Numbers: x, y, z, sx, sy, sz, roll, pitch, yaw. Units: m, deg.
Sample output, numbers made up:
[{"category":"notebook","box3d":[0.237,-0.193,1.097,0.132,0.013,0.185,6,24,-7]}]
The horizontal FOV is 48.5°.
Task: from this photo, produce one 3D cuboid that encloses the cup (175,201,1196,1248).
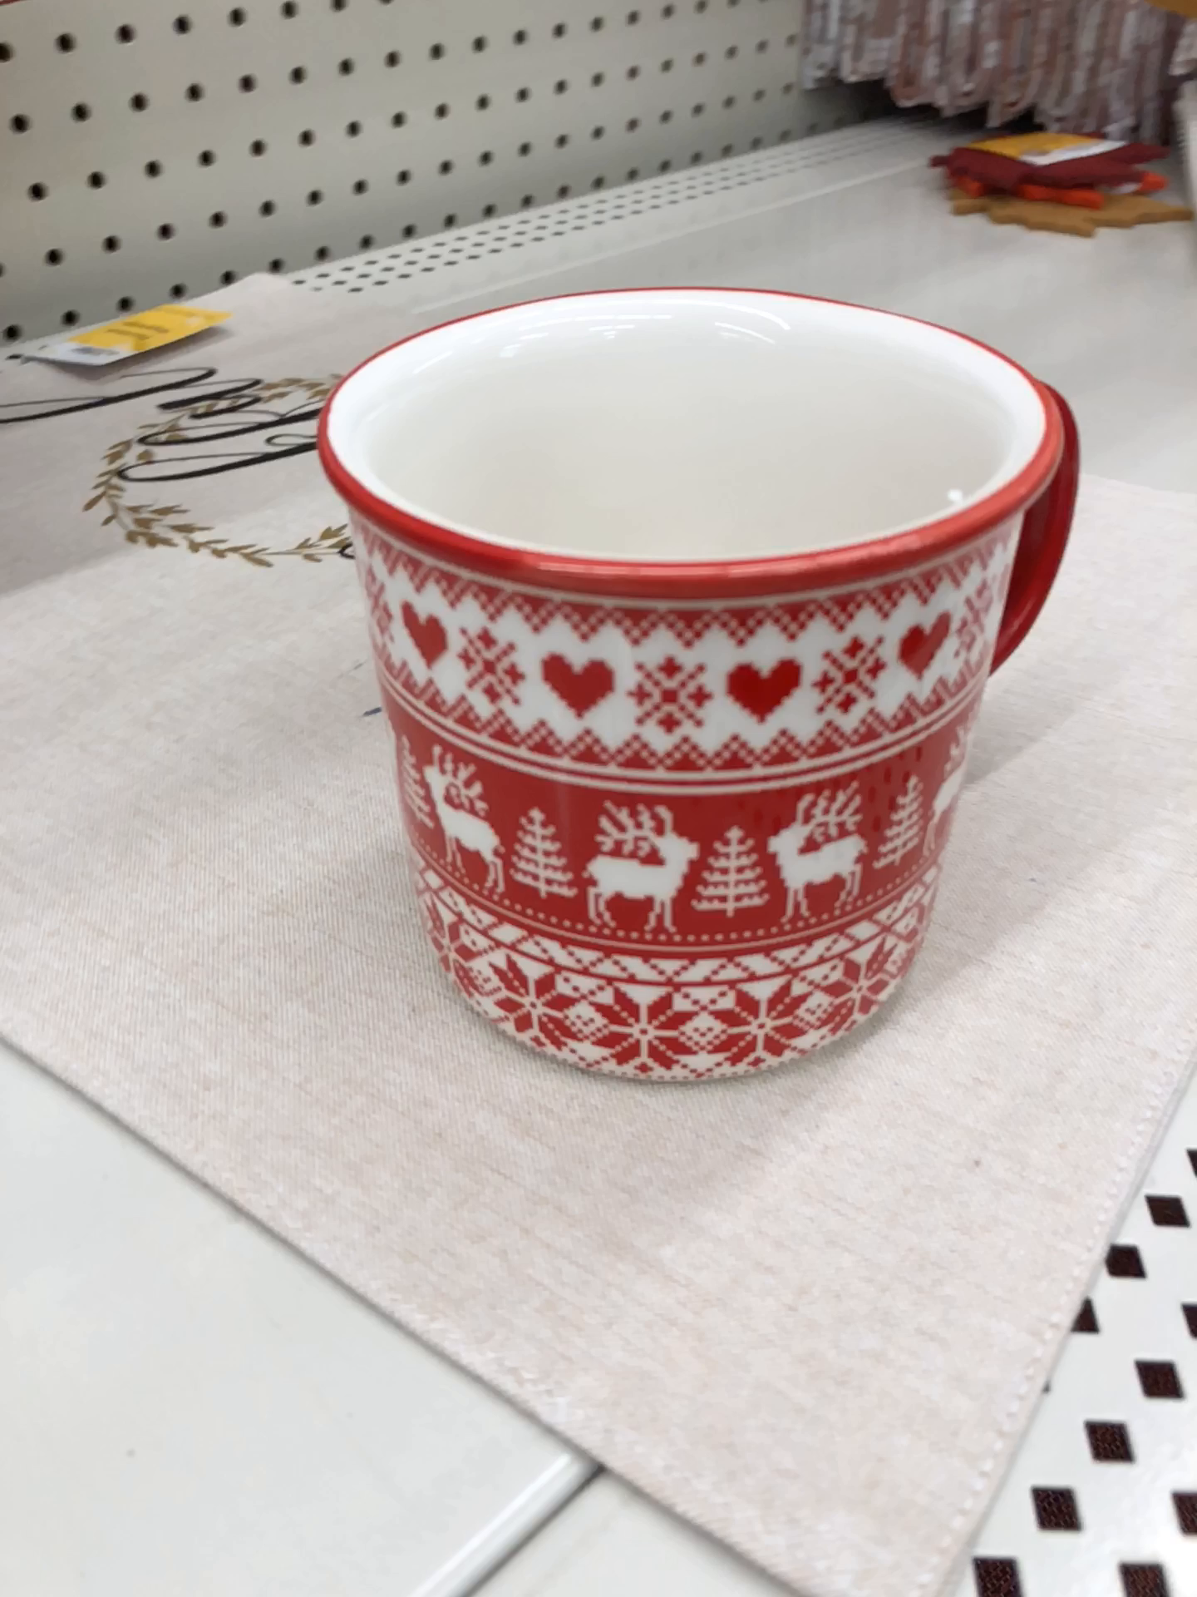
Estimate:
[{"category":"cup","box3d":[0.028,-0.028,0.234,0.150,0.100,0.100,-30,47,-31]}]
